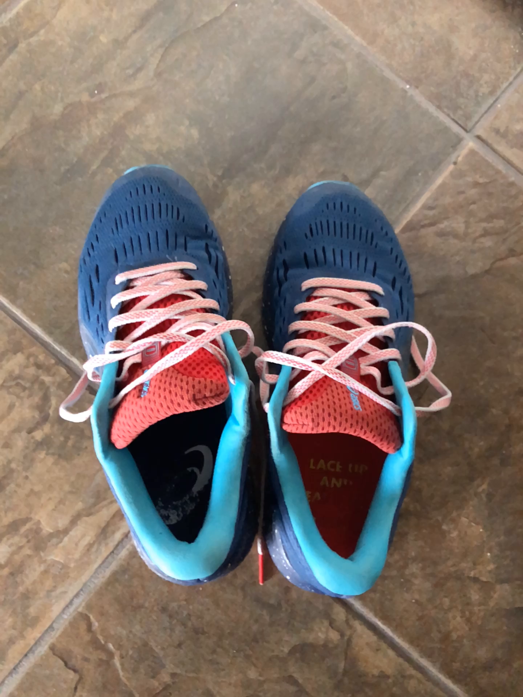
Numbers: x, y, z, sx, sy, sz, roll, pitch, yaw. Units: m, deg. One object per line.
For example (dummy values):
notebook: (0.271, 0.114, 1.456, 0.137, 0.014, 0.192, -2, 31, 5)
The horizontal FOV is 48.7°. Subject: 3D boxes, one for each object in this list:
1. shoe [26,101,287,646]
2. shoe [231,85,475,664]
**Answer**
shoe: (-0.067, 0.012, 0.394, 0.120, 0.130, 0.300, -6, 83, -4)
shoe: (0.049, 0.014, 0.368, 0.120, 0.130, 0.300, 3, 83, -3)
